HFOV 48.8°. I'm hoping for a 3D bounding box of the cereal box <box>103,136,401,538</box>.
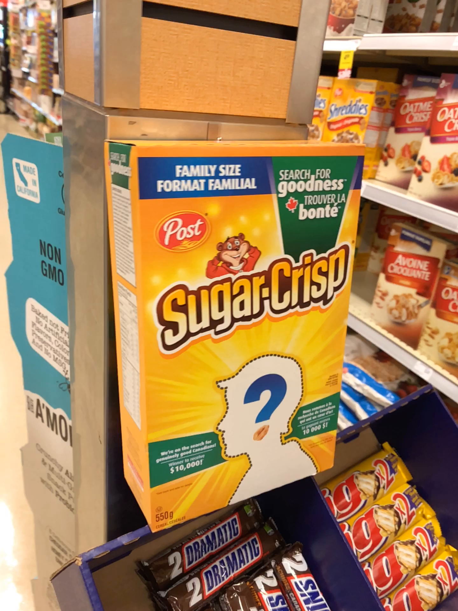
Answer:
[{"bbox_3d":[0.020,0.014,0.435,0.220,0.299,0.080,-9,21,-28],"label":"cereal box"}]
